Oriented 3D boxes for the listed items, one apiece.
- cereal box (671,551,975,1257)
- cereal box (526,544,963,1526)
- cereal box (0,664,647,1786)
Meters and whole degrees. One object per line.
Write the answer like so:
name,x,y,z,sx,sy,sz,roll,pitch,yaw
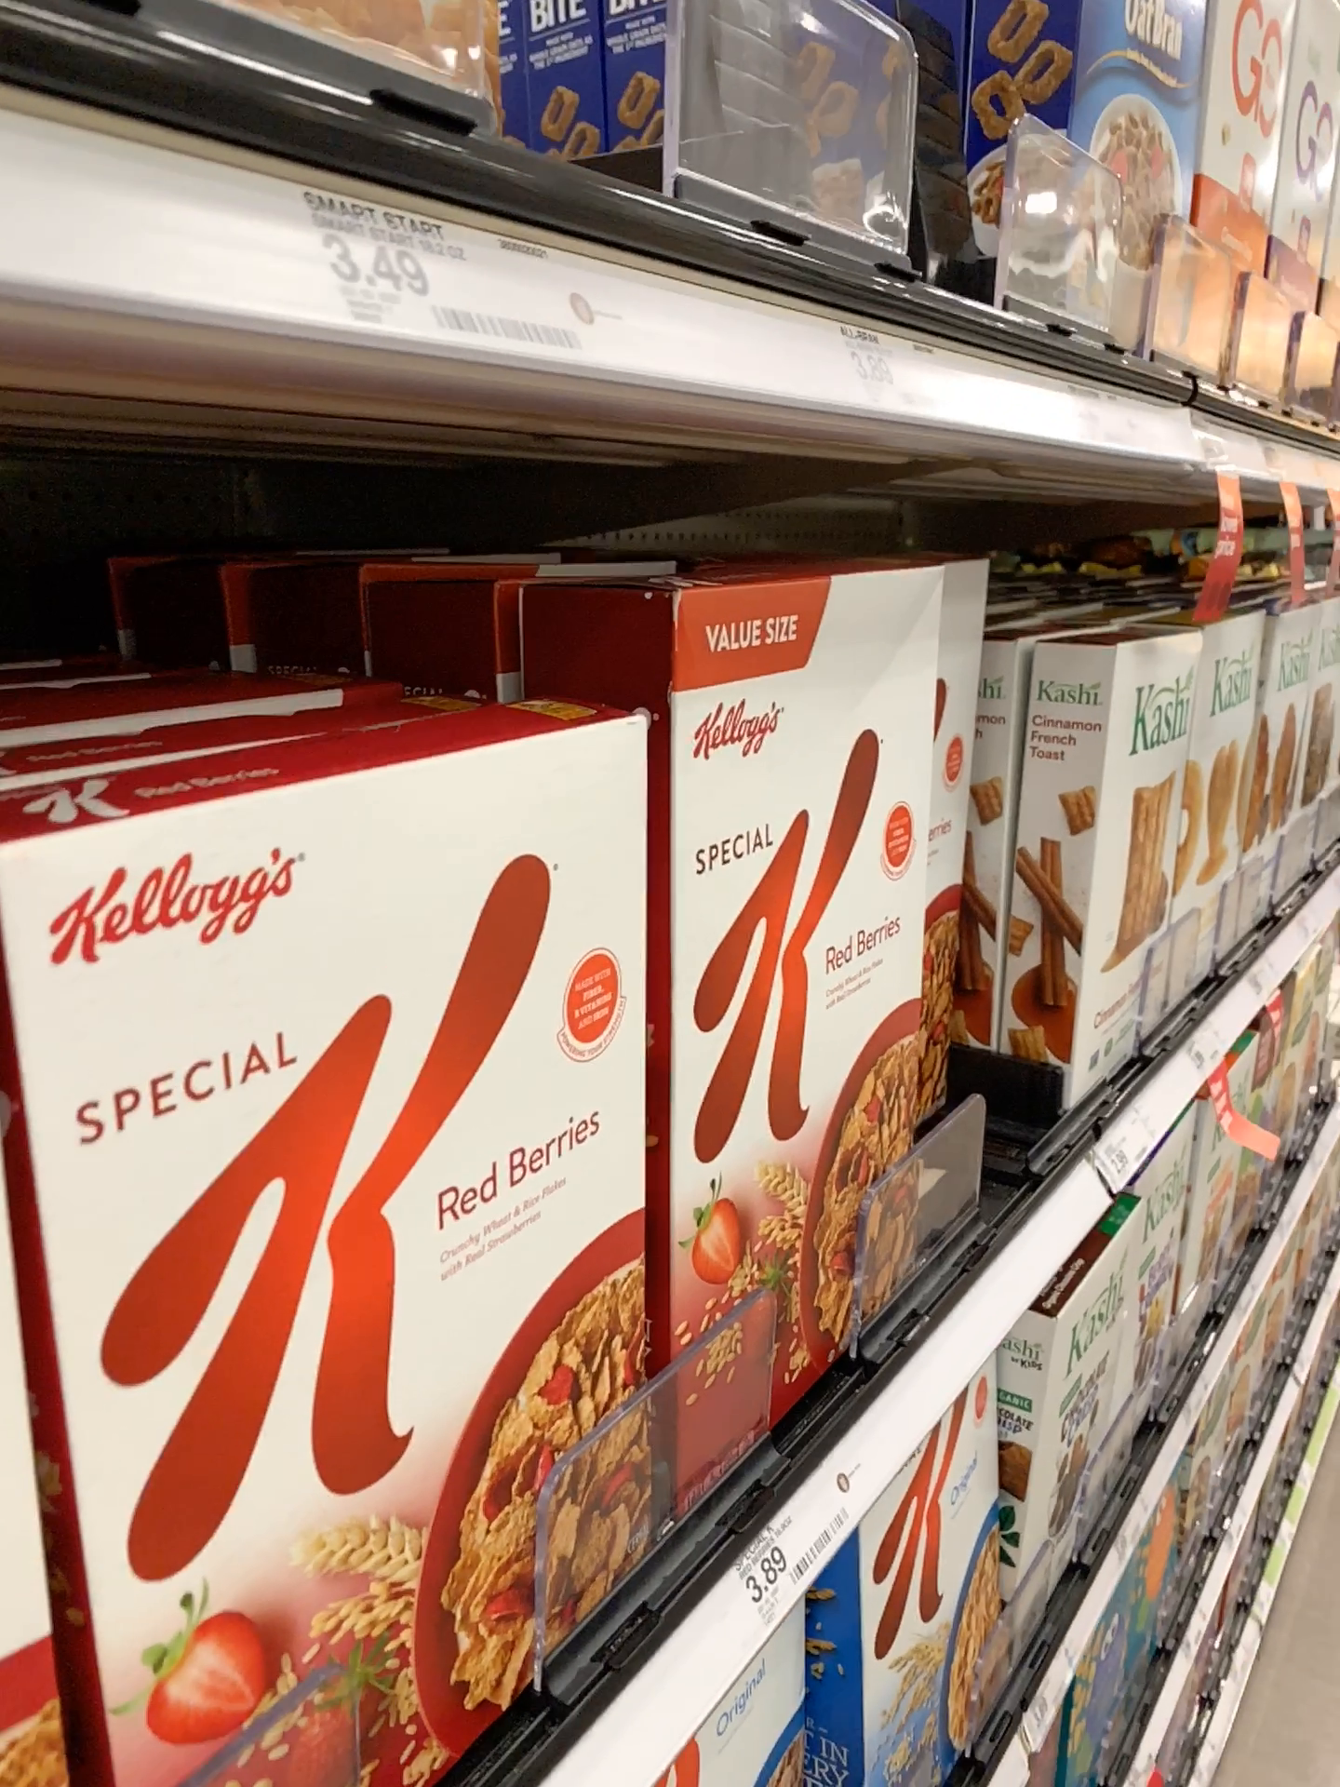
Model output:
cereal box,0.083,-0.009,0.726,0.060,0.329,0.200,10,17,30
cereal box,0.032,0.034,0.523,0.060,0.319,0.200,11,18,31
cereal box,-0.089,0.095,0.367,0.060,0.289,0.200,10,17,30
